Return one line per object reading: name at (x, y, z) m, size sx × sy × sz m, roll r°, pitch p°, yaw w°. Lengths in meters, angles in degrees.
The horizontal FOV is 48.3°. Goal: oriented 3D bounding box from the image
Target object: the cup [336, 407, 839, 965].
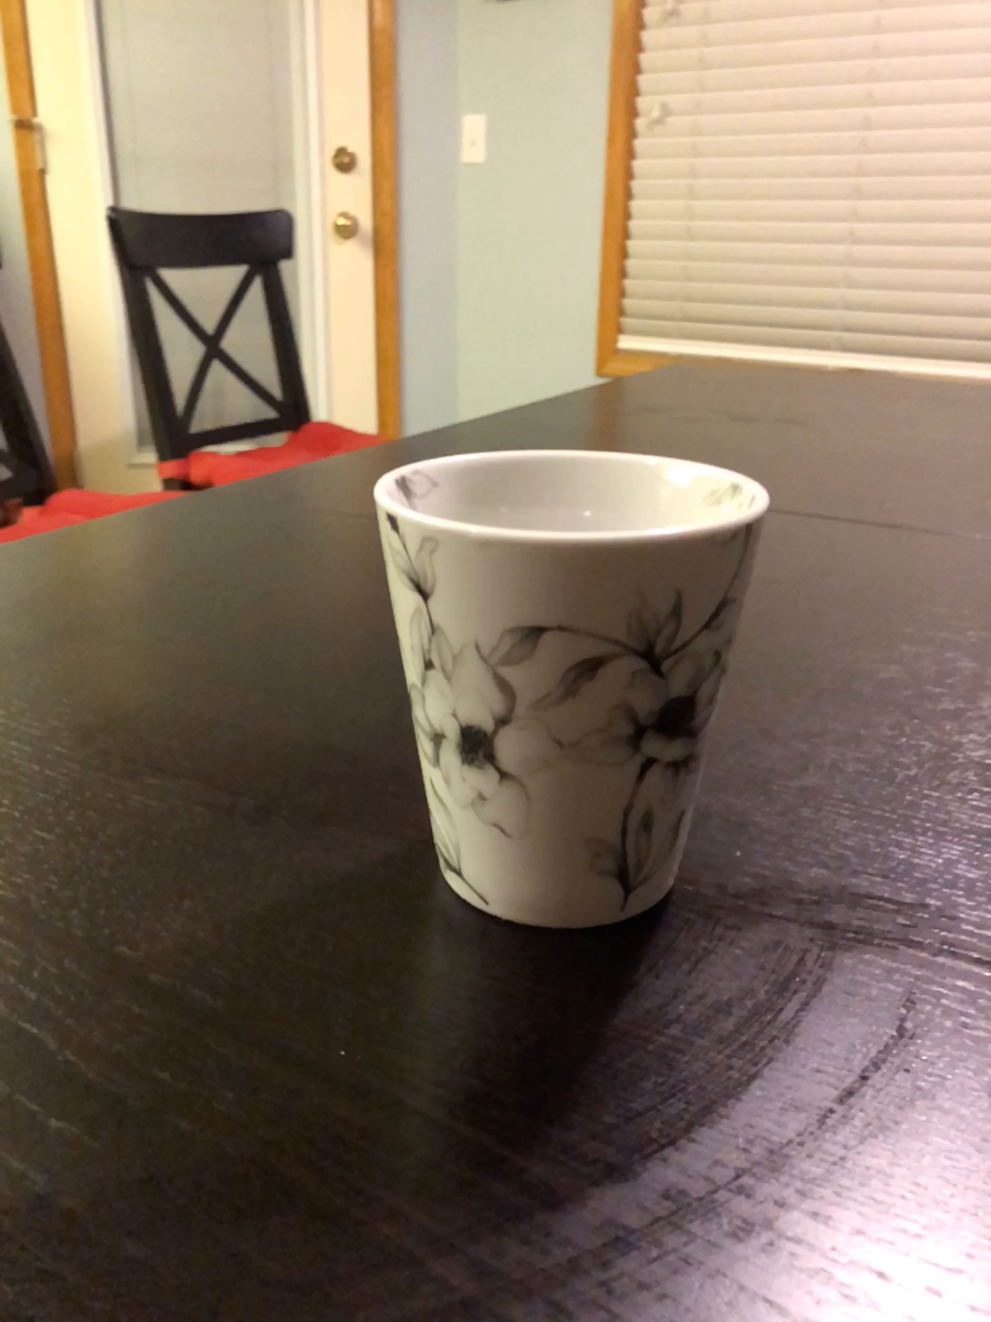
cup at (0.028, -0.006, 0.290) m, size 0.100 × 0.100 × 0.121 m, roll 5°, pitch 21°, yaw 12°
